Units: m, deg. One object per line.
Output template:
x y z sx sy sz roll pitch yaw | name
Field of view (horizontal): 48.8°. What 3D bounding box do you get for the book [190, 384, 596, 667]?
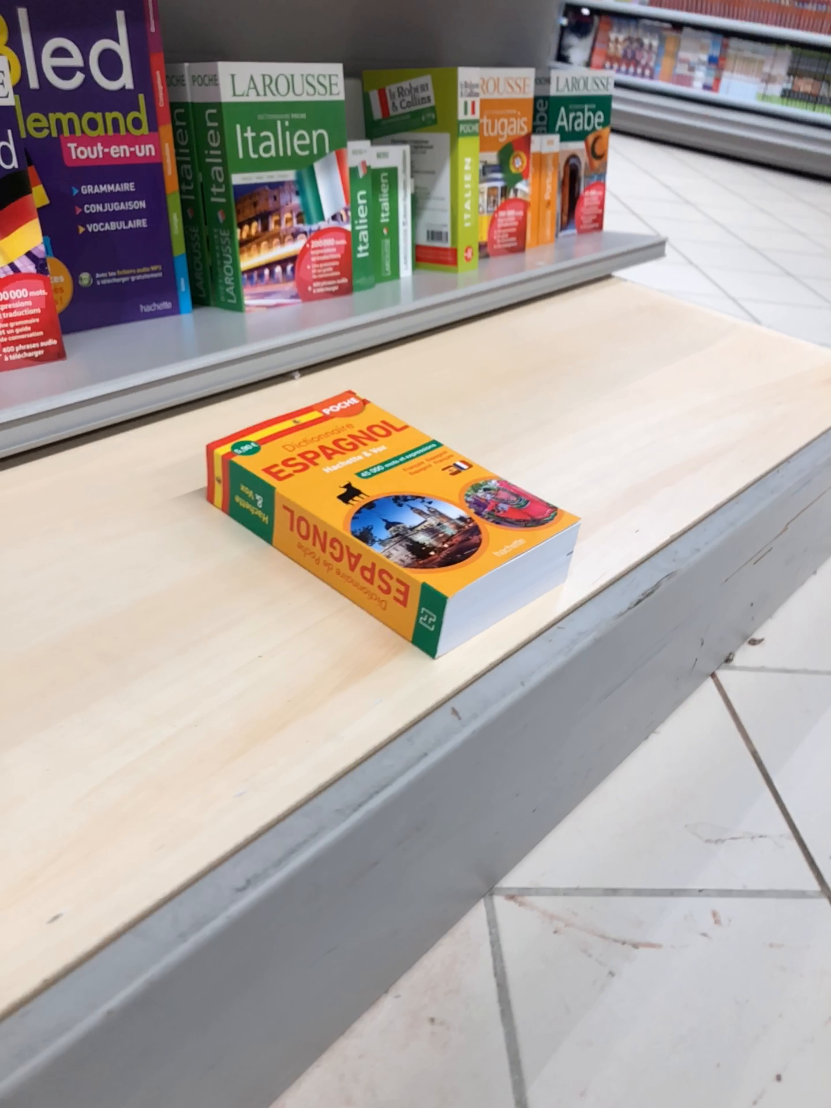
-0.017 -0.027 0.500 0.190 0.040 0.117 32 41 32 | book
